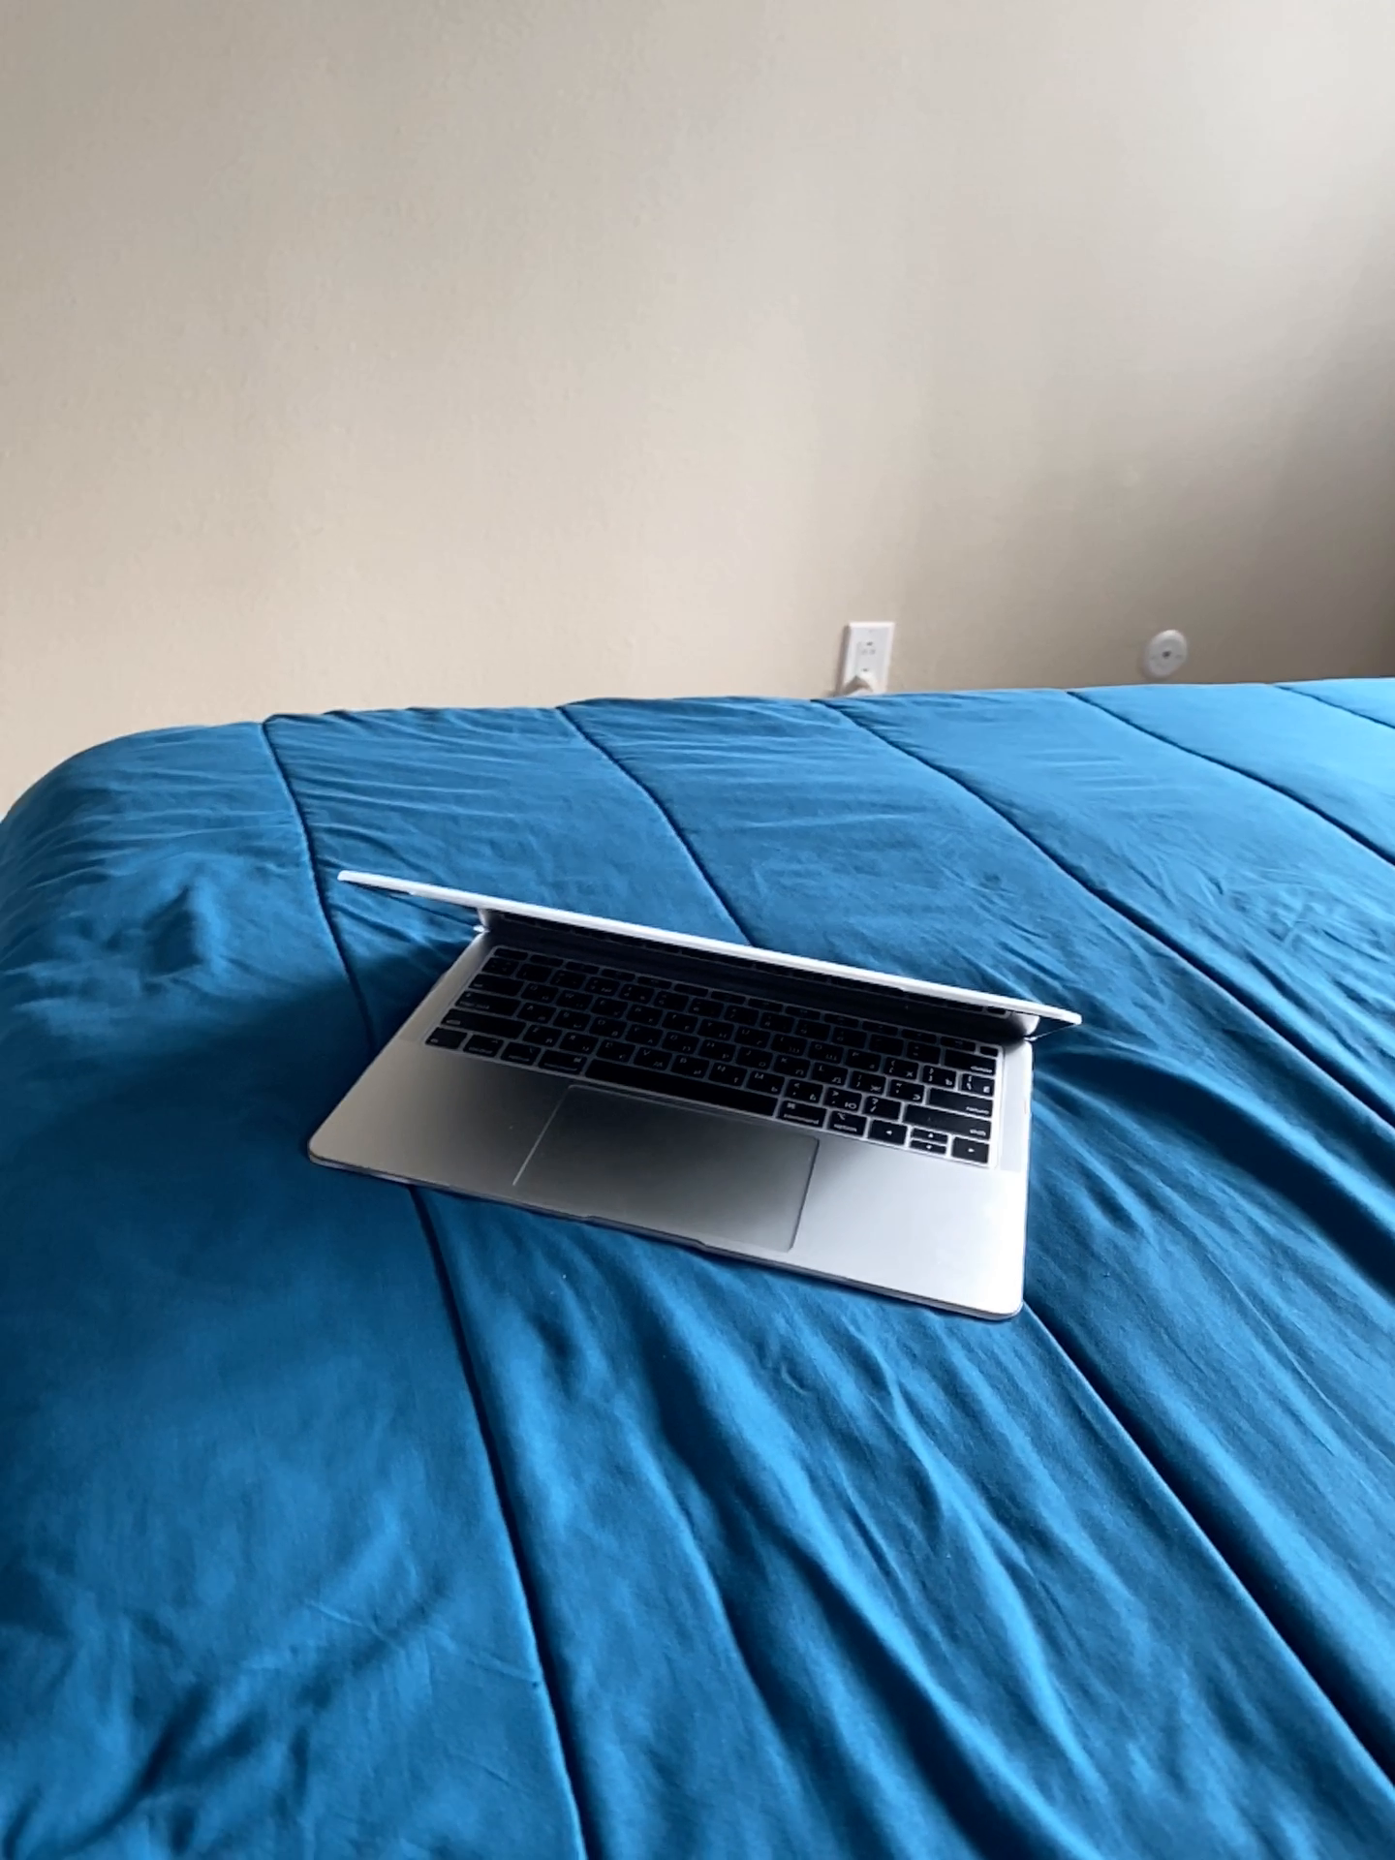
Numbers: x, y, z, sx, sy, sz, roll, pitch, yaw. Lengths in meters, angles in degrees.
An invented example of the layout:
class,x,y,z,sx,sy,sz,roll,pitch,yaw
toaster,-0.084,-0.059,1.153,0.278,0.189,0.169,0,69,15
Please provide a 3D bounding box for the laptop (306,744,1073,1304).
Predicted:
class,x,y,z,sx,sy,sz,roll,pitch,yaw
laptop,0.008,0.025,0.672,0.311,0.106,0.220,10,29,10
